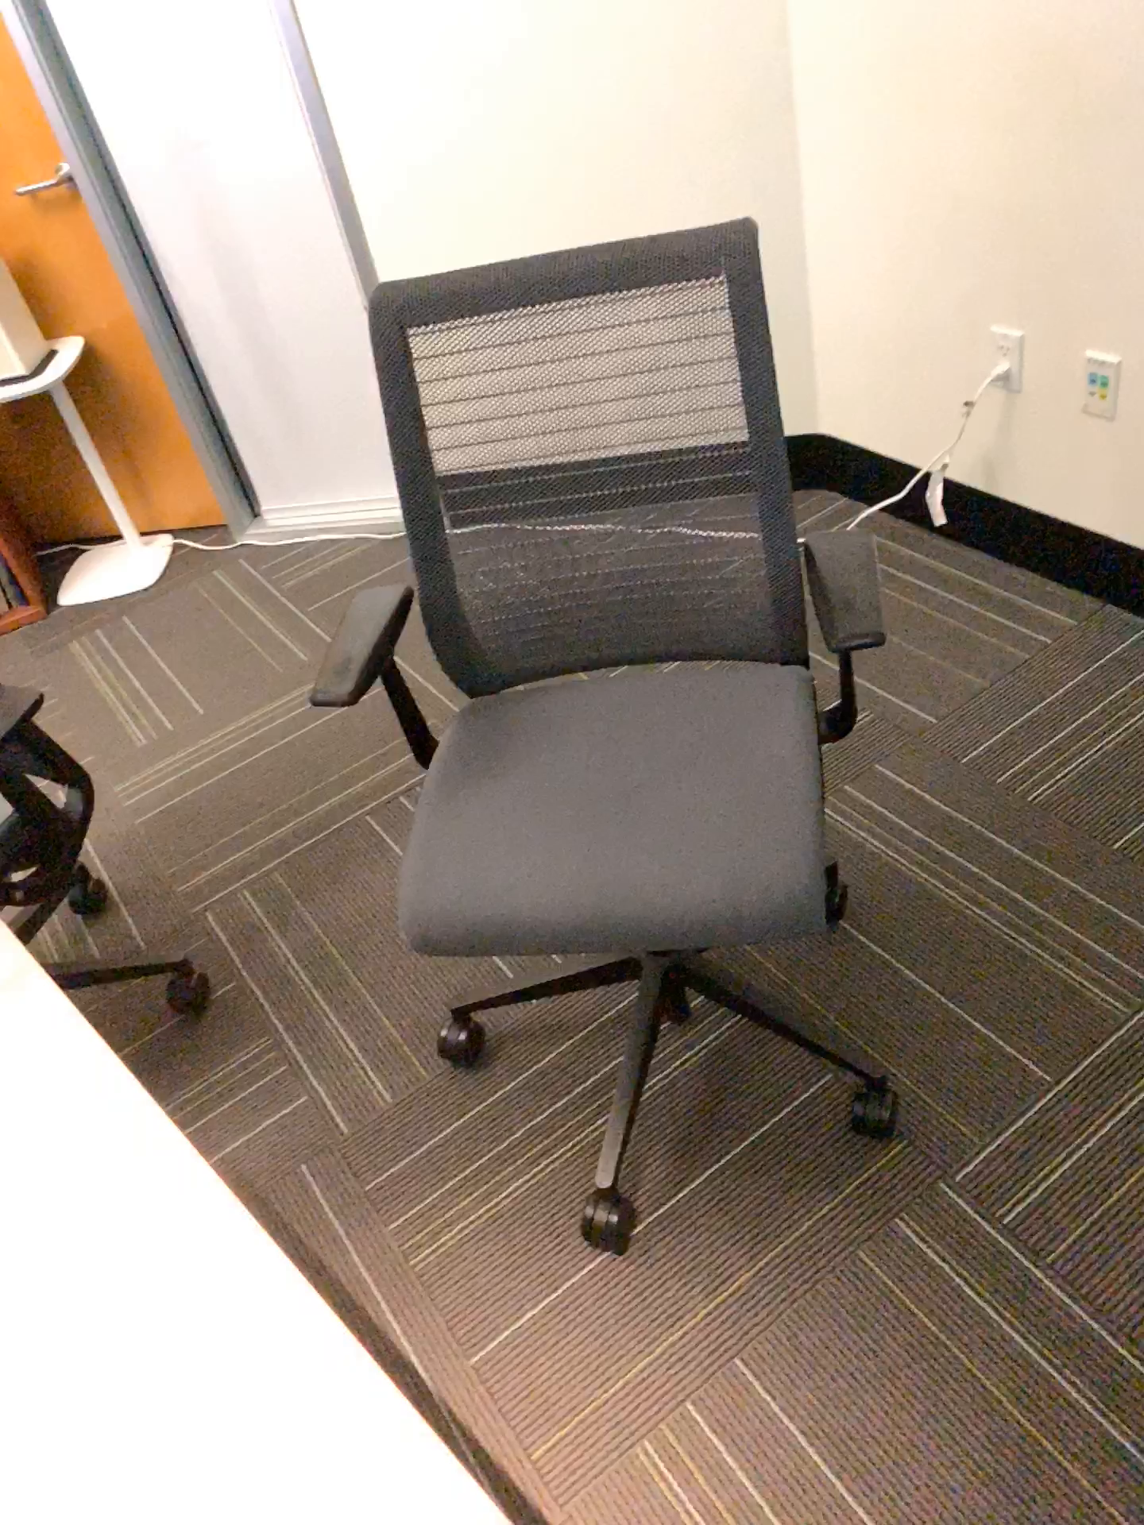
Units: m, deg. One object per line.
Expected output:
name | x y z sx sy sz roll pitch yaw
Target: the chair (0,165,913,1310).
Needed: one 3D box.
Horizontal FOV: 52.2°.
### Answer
chair | -0.051 0.029 1.487 0.791 1.113 0.805 -7 41 10
